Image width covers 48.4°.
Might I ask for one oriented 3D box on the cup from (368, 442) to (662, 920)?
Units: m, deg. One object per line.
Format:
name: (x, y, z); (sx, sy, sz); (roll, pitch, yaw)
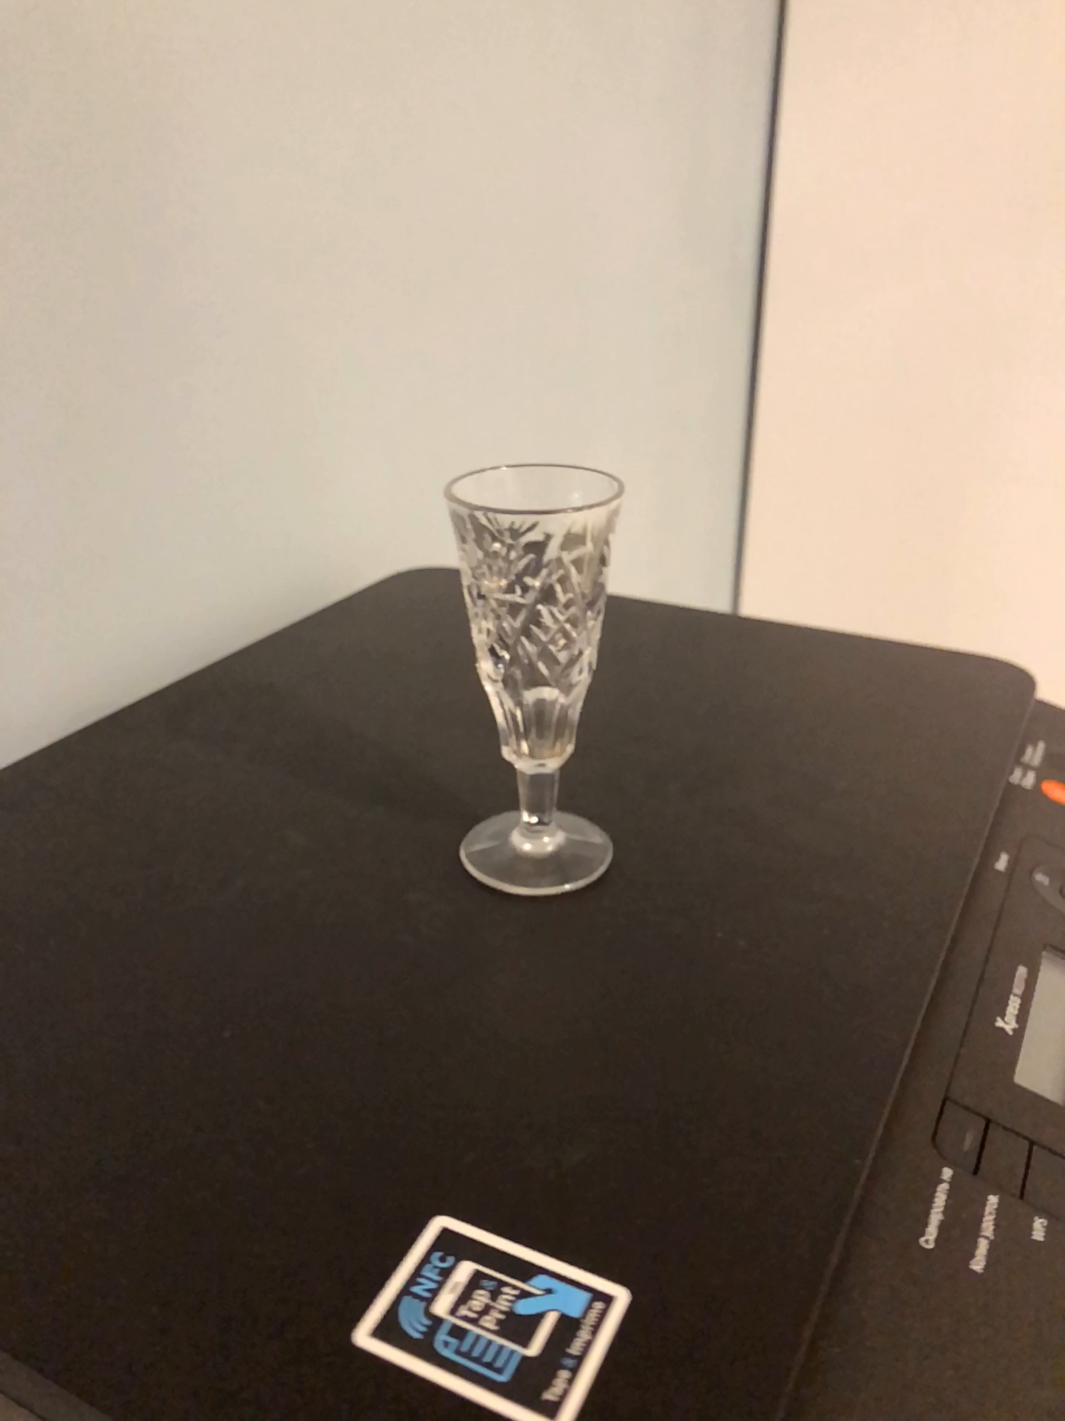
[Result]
cup: (-0.006, -0.010, 0.323); (0.057, 0.109, 0.054); (0, 24, 0)
